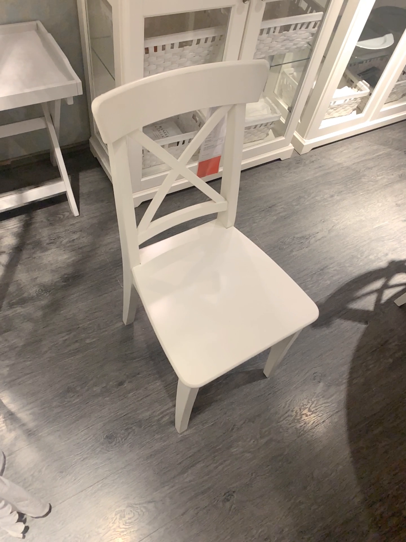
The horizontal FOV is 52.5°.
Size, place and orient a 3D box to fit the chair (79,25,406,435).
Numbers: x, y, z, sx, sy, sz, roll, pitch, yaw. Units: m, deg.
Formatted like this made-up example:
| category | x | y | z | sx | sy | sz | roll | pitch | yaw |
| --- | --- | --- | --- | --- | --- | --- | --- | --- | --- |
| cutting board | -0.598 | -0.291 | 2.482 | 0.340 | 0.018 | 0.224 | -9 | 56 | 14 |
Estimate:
| category | x | y | z | sx | sy | sz | roll | pitch | yaw |
| --- | --- | --- | --- | --- | --- | --- | --- | --- | --- |
| chair | 0.044 | -0.019 | 1.038 | 0.441 | 0.858 | 0.491 | -24 | 63 | -23 |
